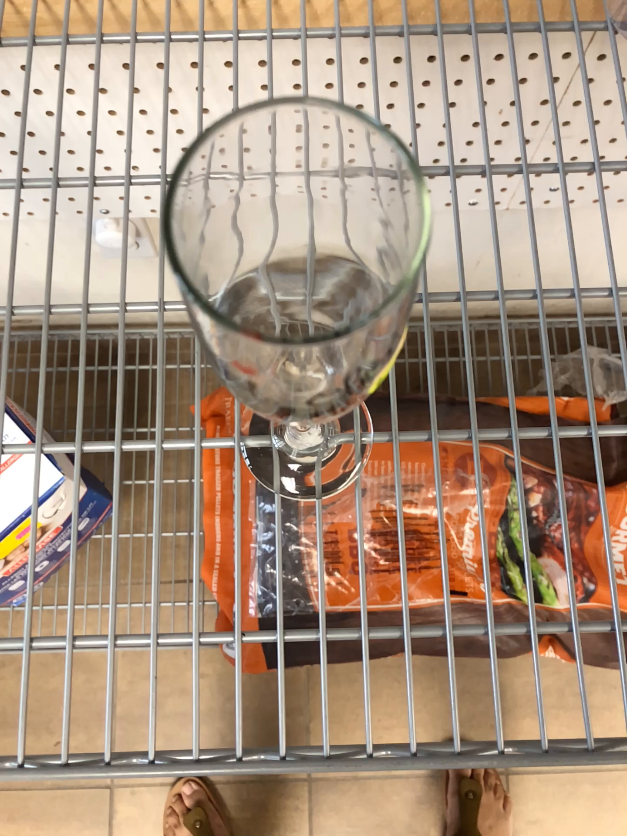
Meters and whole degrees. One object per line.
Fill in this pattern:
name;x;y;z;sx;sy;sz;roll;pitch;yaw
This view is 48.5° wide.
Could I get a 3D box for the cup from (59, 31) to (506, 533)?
cup;-0.008;-0.012;0.229;0.070;0.210;0.069;0;76;0
